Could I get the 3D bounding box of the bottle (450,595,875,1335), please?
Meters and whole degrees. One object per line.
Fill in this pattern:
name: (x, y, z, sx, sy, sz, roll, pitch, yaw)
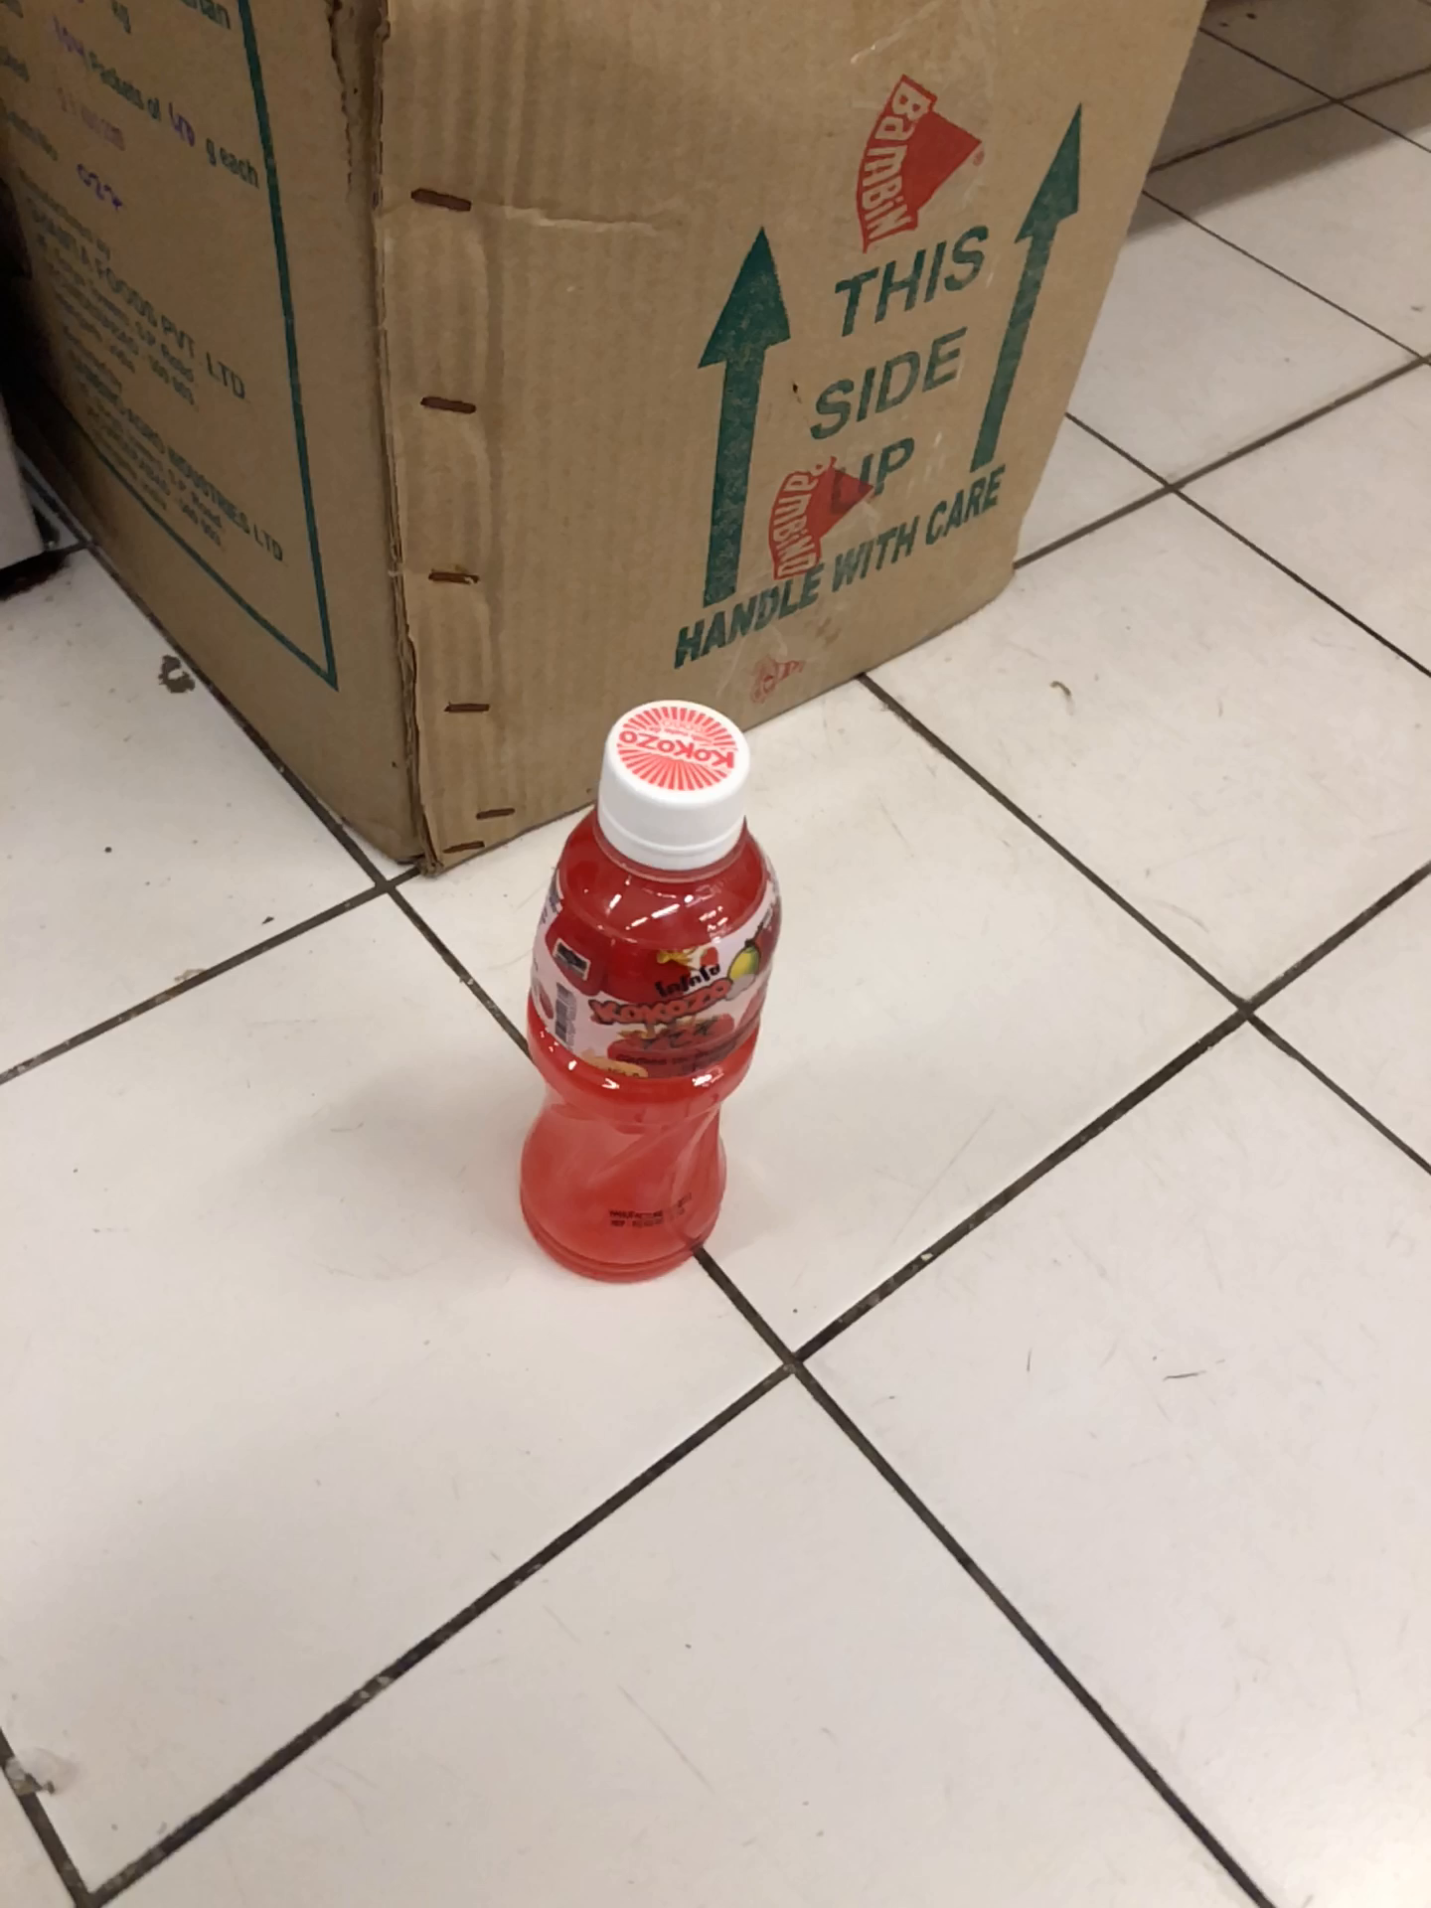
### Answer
bottle: (-0.020, 0.014, 0.383, 0.060, 0.189, 0.060, 4, 52, -5)
